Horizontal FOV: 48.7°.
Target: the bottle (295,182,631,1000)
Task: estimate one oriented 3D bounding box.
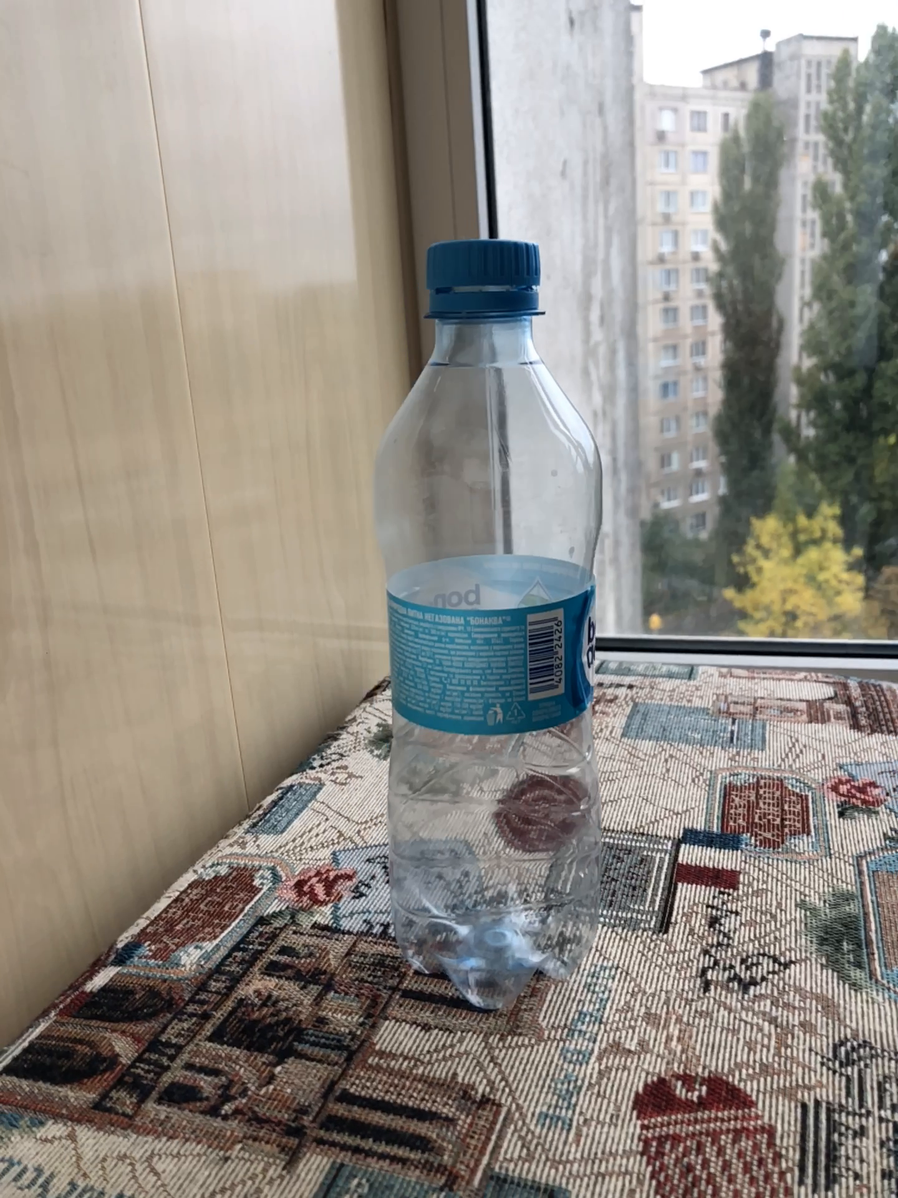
[{"bbox_3d":[0.011,-0.001,0.286,0.070,0.209,0.080,-3,16,5],"label":"bottle"}]
